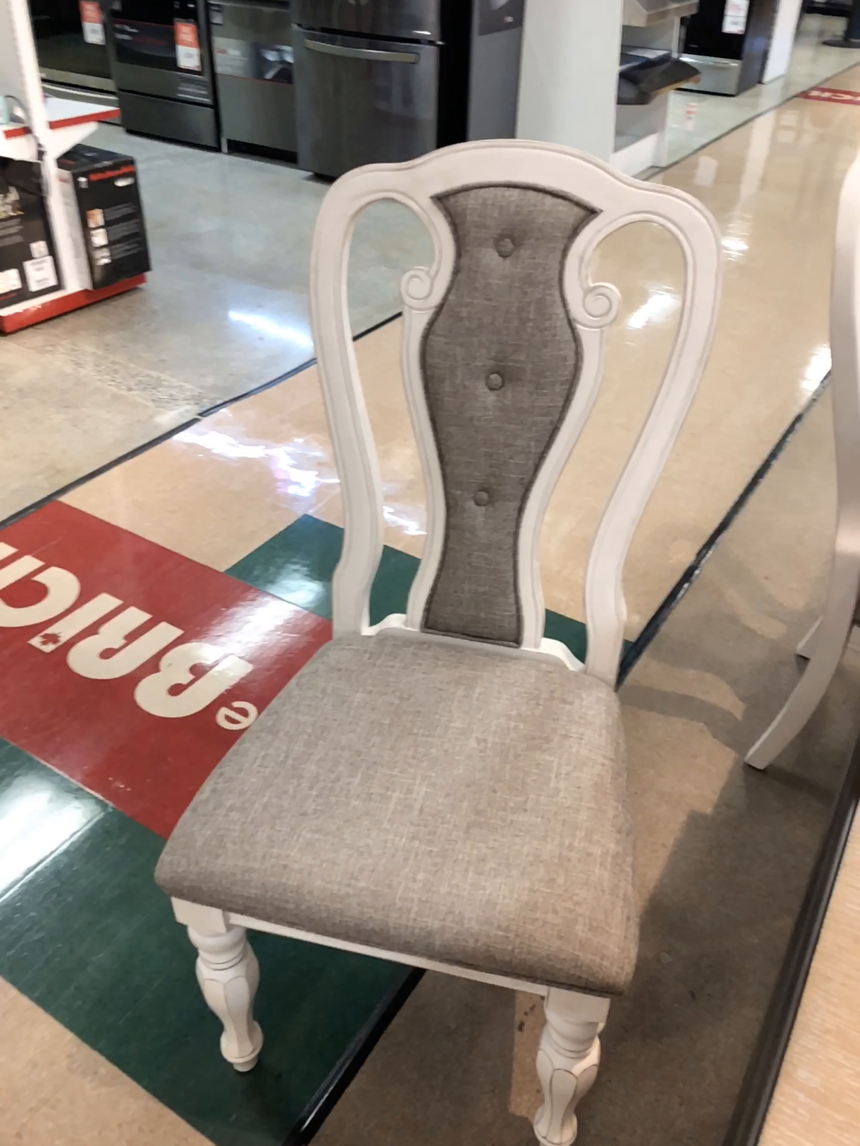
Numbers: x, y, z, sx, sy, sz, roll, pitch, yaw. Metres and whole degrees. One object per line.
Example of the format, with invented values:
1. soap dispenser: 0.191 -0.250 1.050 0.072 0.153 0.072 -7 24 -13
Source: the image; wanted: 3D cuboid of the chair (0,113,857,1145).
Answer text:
1. chair: 0.041 0.083 1.128 0.550 1.013 0.674 10 37 11
